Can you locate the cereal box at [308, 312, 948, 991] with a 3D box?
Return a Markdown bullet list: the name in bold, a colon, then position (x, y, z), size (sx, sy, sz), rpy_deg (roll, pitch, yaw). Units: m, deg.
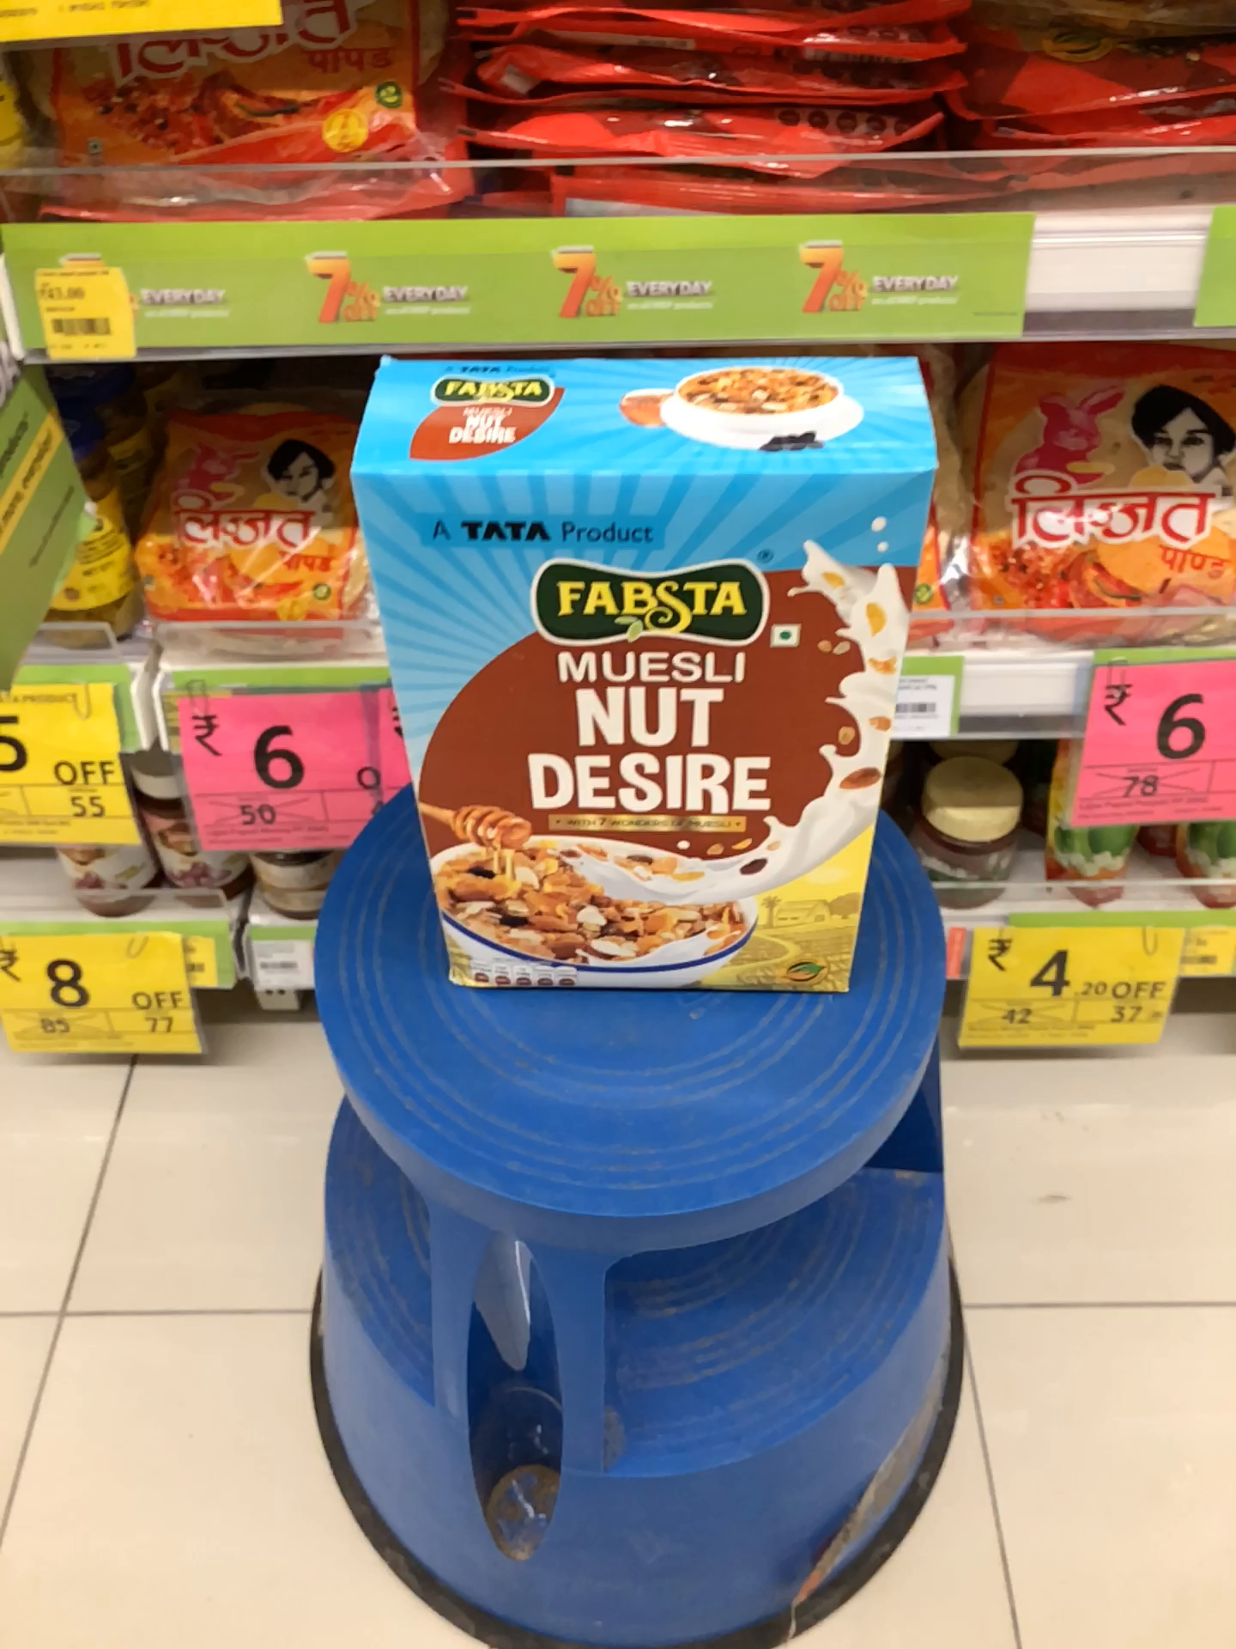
- **cereal box**: position (0.005, -0.043, 0.479), size (0.170, 0.248, 0.070), rpy_deg (0, 48, 1)
